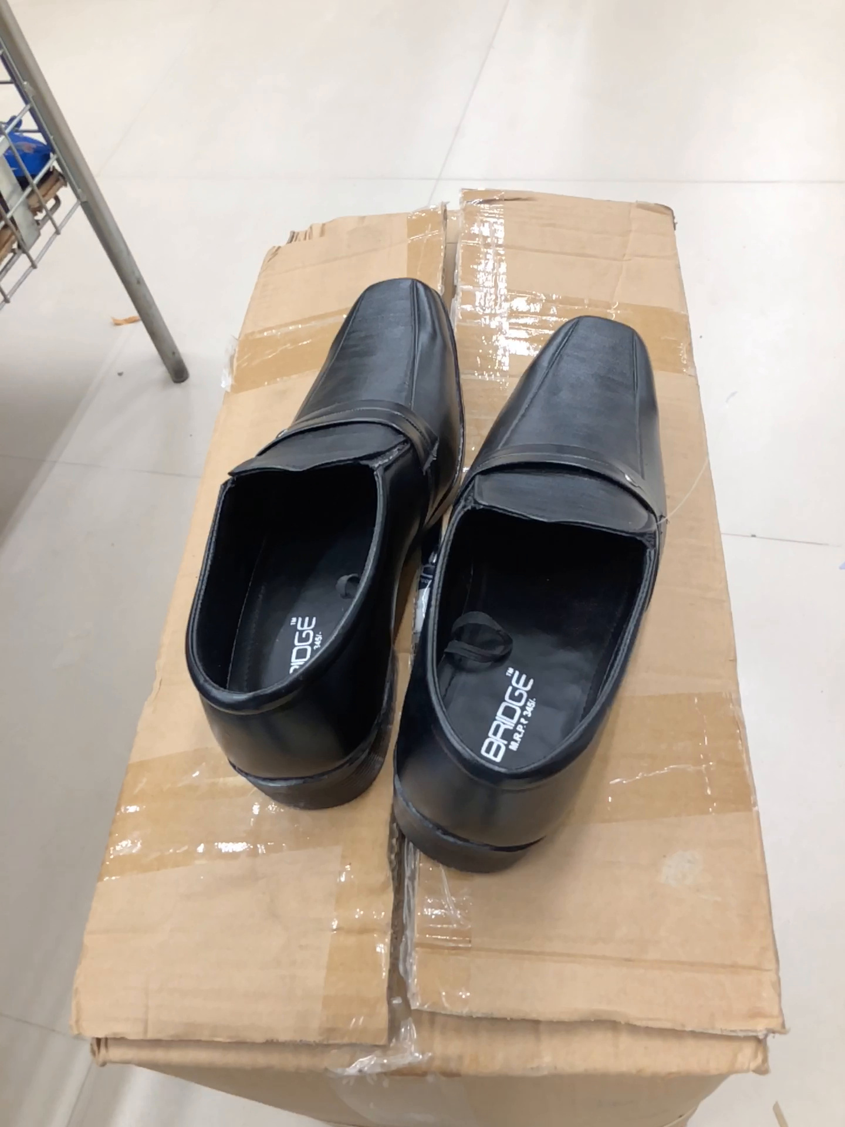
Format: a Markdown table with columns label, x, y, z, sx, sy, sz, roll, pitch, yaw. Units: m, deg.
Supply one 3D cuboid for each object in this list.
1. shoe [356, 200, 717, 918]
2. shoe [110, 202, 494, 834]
| label | x | y | z | sx | sy | sz | roll | pitch | yaw |
| --- | --- | --- | --- | --- | --- | --- | --- | --- | --- |
| shoe | 0.060 | -0.013 | 0.449 | 0.100 | 0.129 | 0.311 | 13 | 59 | 5 |
| shoe | -0.036 | -0.033 | 0.470 | 0.100 | 0.129 | 0.291 | 2 | 57 | 13 |
